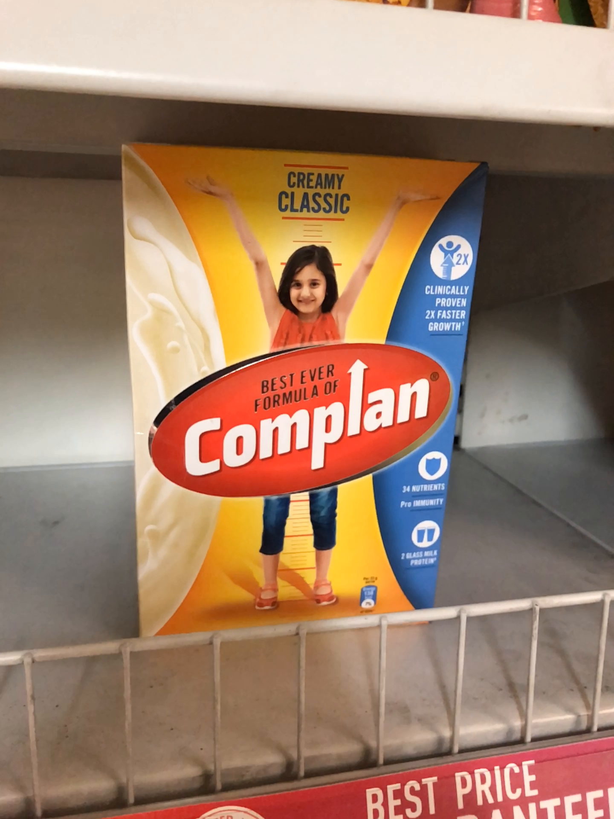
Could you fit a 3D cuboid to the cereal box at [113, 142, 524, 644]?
[{"bbox_3d":[0.000,-0.006,0.299,0.150,0.199,0.050,-2,18,-11],"label":"cereal box"}]
